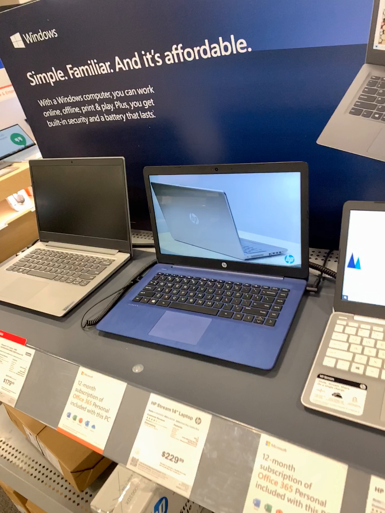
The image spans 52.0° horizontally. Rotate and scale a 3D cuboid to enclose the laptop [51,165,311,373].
[{"bbox_3d":[0.003,-0.009,0.665,0.322,0.207,0.253,6,35,28],"label":"laptop"}]
